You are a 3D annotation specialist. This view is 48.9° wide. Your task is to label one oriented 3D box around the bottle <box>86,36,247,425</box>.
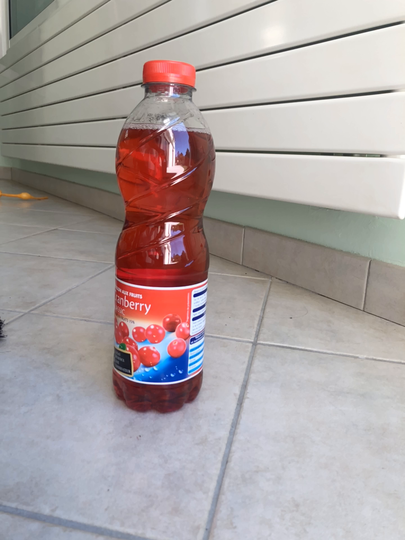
[{"bbox_3d":[-0.034,-0.028,0.353,0.080,0.259,0.090,-8,17,-39],"label":"bottle"}]
